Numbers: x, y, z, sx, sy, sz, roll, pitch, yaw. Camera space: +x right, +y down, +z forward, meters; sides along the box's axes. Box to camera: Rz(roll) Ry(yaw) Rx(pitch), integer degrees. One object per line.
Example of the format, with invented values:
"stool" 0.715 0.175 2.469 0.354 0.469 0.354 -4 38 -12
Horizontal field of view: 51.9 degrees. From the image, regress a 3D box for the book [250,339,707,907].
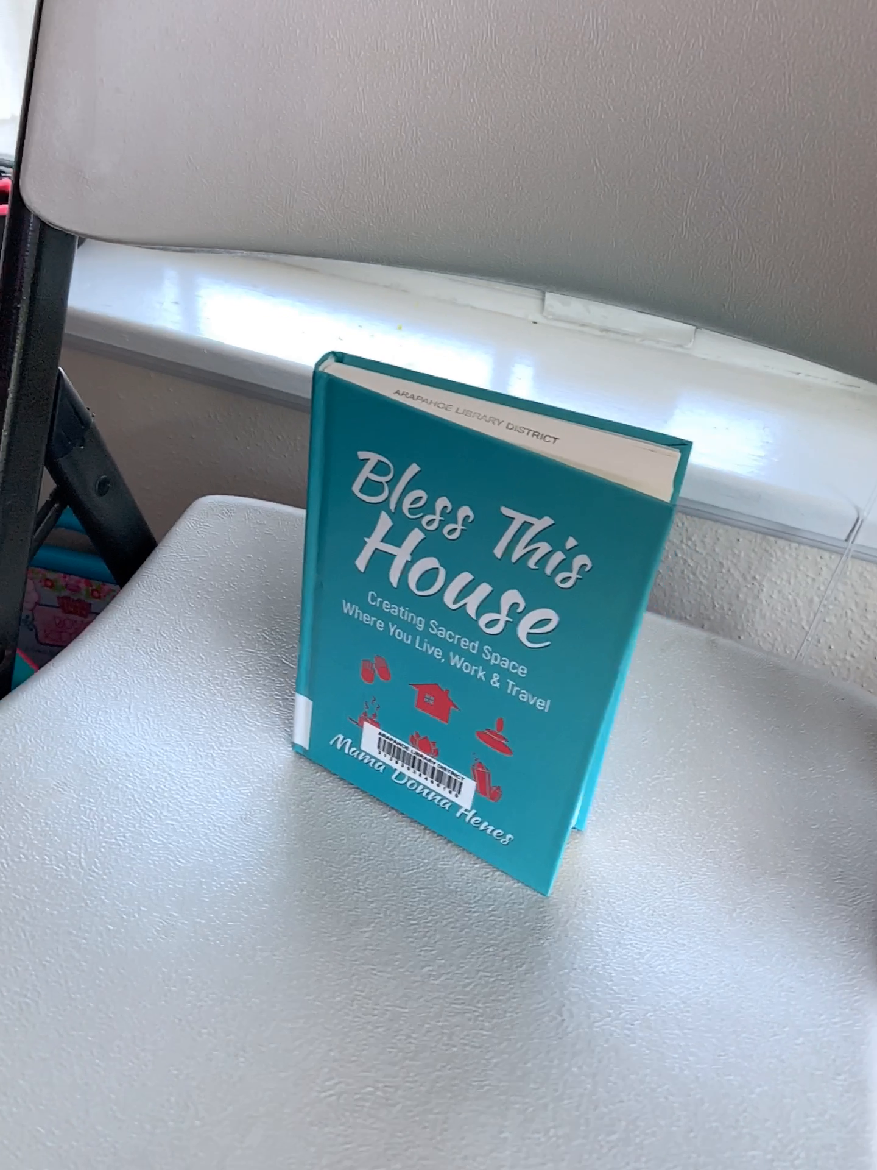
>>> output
"book" 0.003 0.018 0.343 0.141 0.181 0.051 19 35 16
